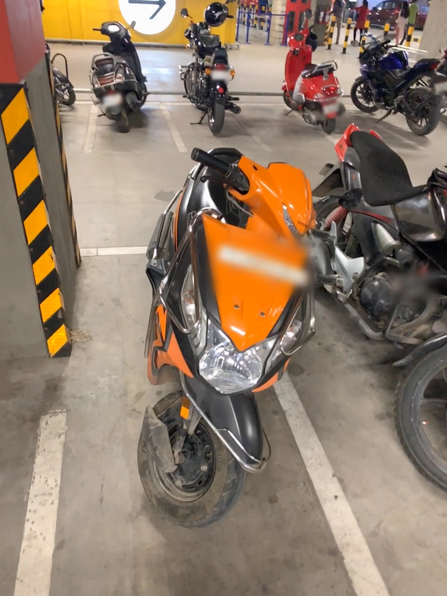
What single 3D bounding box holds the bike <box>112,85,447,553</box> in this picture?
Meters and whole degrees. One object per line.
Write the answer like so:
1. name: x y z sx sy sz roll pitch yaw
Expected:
1. bike: 0.099 -0.111 1.888 0.724 1.173 1.614 1 33 -4
